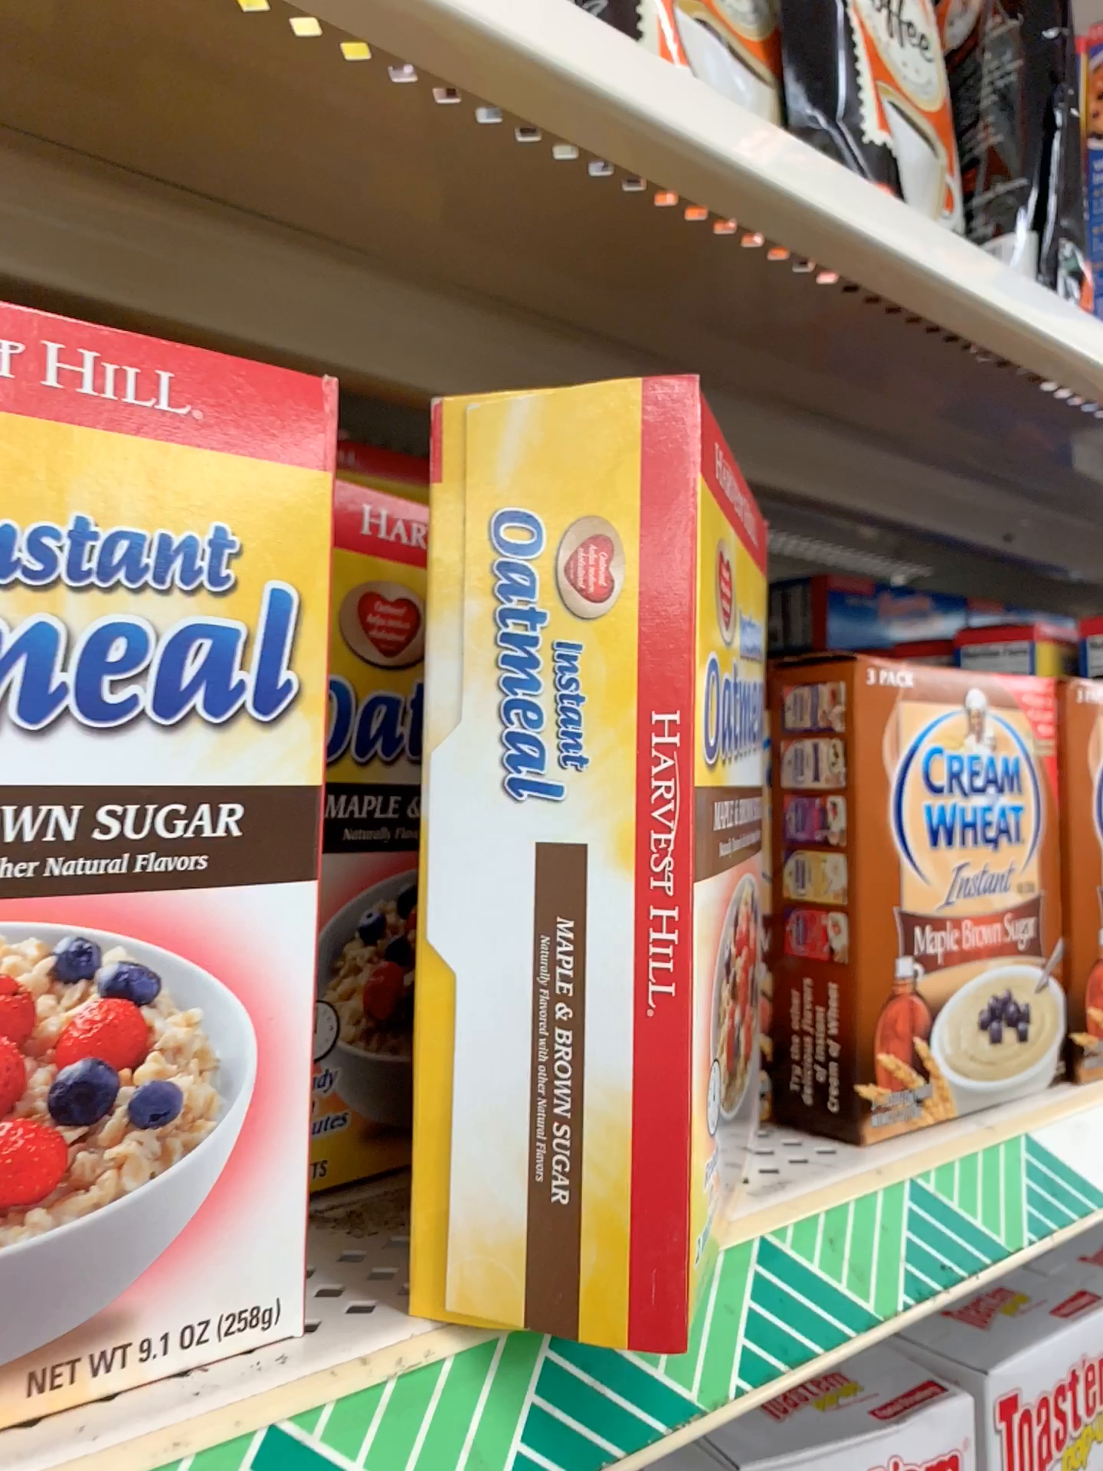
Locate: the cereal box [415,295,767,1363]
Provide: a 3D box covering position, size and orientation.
[{"bbox_3d":[0.018,0.016,0.265,0.050,0.180,0.130,0,-3,15],"label":"cereal box"}]
